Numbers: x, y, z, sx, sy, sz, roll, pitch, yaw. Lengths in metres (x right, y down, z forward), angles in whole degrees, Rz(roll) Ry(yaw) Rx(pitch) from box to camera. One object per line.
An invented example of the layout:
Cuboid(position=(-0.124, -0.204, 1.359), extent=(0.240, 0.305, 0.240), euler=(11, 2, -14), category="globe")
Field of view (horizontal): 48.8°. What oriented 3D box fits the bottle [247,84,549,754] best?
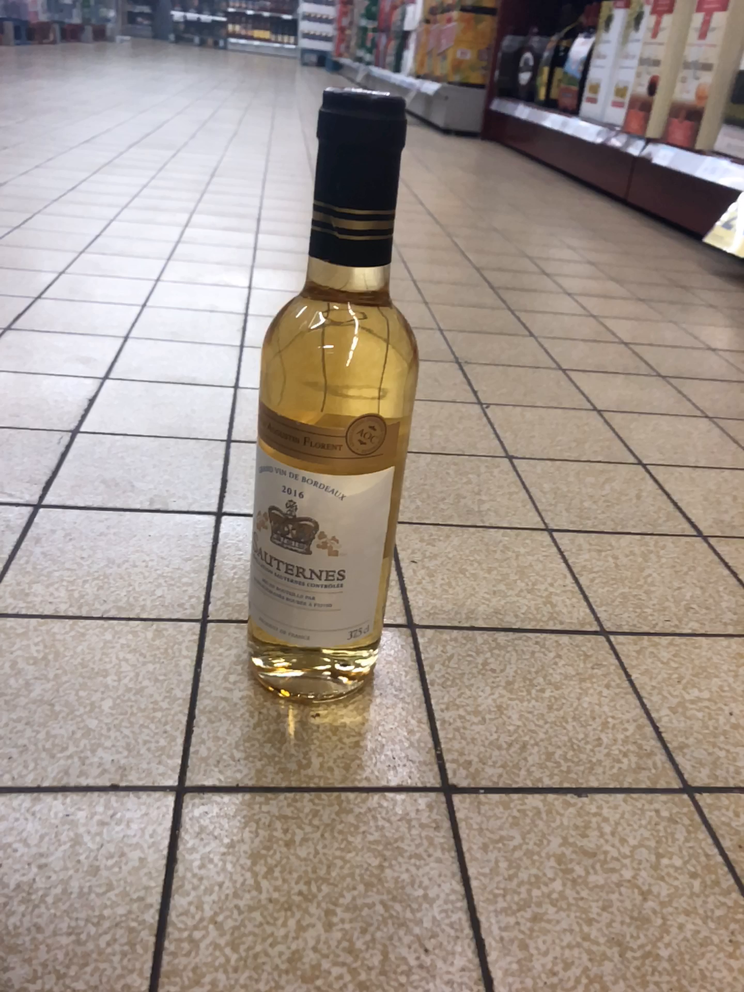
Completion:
Cuboid(position=(0.004, -0.023, 0.320), extent=(0.070, 0.239, 0.070), euler=(6, 27, -3), category="bottle")
